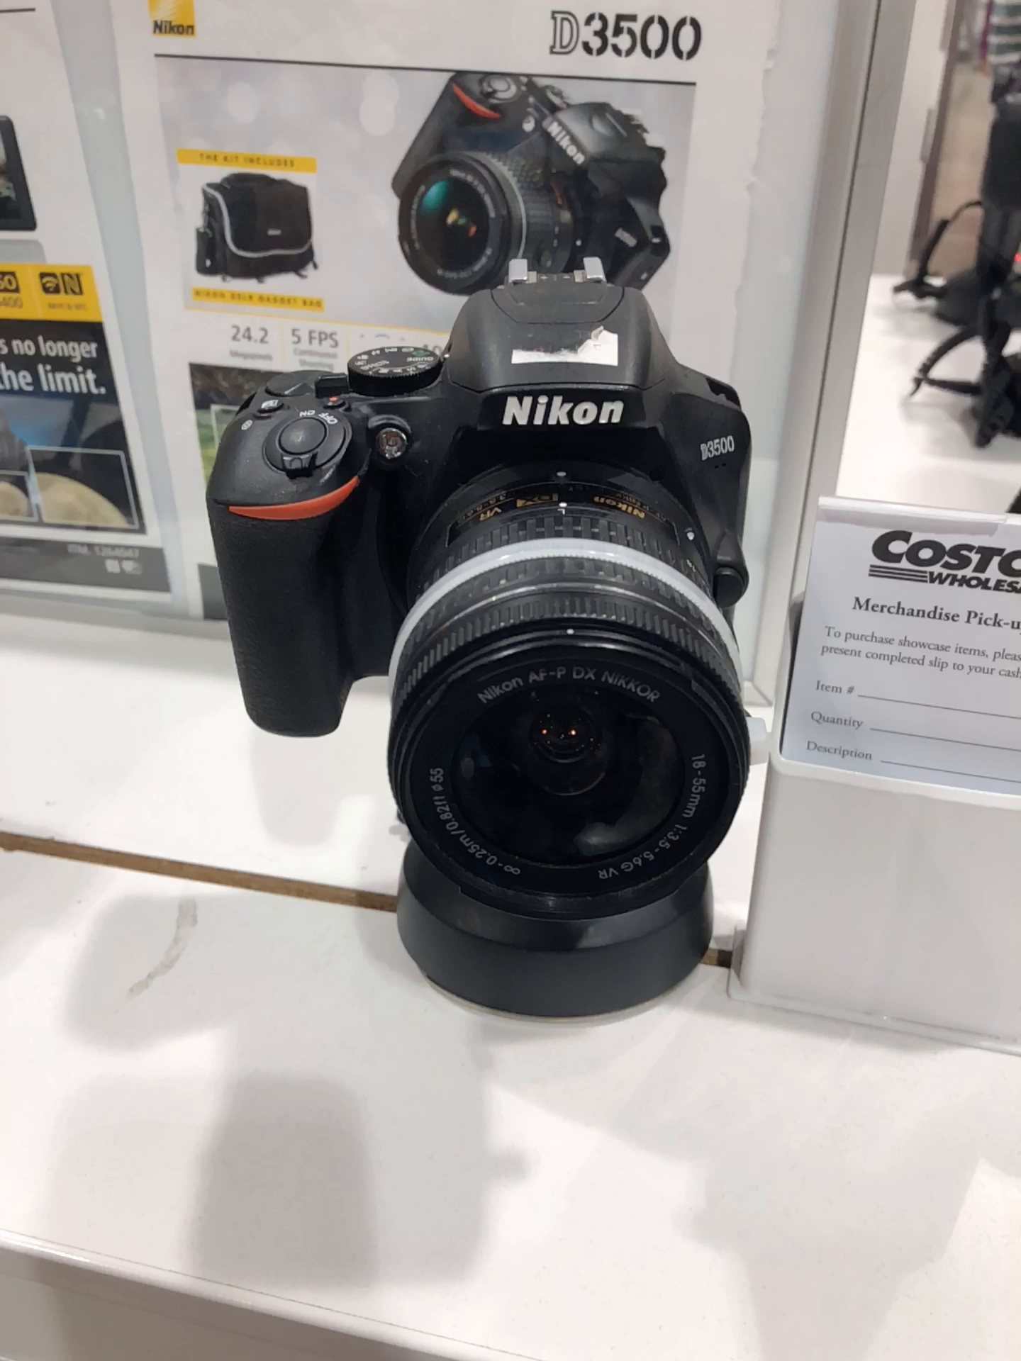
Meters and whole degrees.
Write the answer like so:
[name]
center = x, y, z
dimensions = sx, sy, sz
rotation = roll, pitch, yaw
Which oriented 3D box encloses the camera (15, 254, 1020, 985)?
[camera]
center = 0.001, -0.021, 0.233
dimensions = 0.140, 0.100, 0.120
rotation = -1, 32, -2
